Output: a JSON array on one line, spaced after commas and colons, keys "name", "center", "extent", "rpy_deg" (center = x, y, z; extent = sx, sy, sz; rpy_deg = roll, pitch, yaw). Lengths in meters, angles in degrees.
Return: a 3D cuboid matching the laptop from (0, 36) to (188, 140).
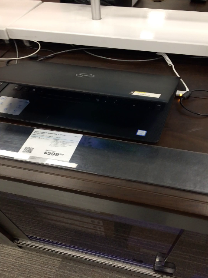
[{"name": "laptop", "center": [-0.054, -0.134, 0.634], "extent": [0.421, 0.082, 0.209], "rpy_deg": [11, 54, 15]}]
